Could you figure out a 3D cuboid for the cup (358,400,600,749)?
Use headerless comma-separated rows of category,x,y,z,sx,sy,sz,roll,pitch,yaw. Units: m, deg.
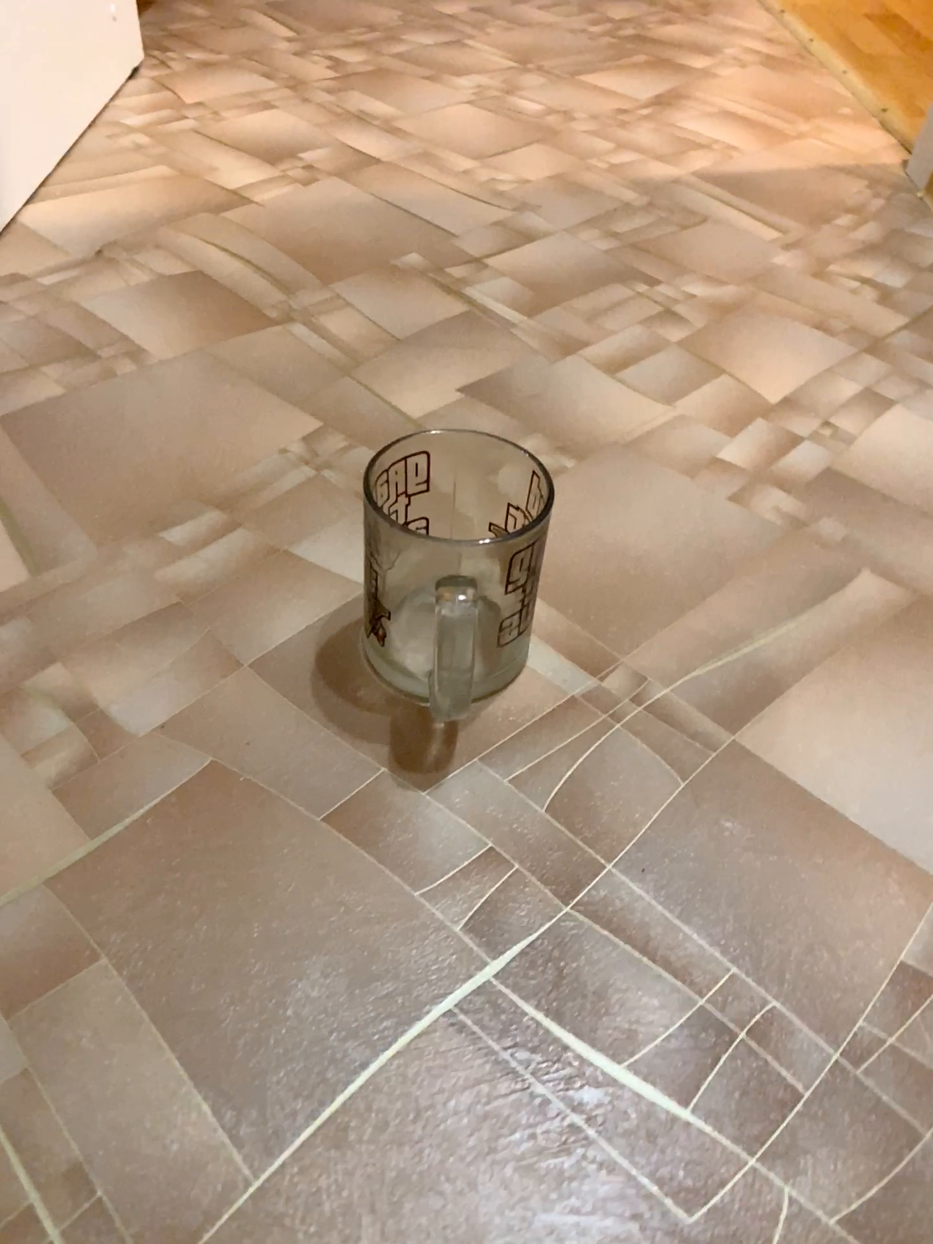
cup,0.001,-0.019,0.388,0.081,0.097,0.098,3,45,-3
